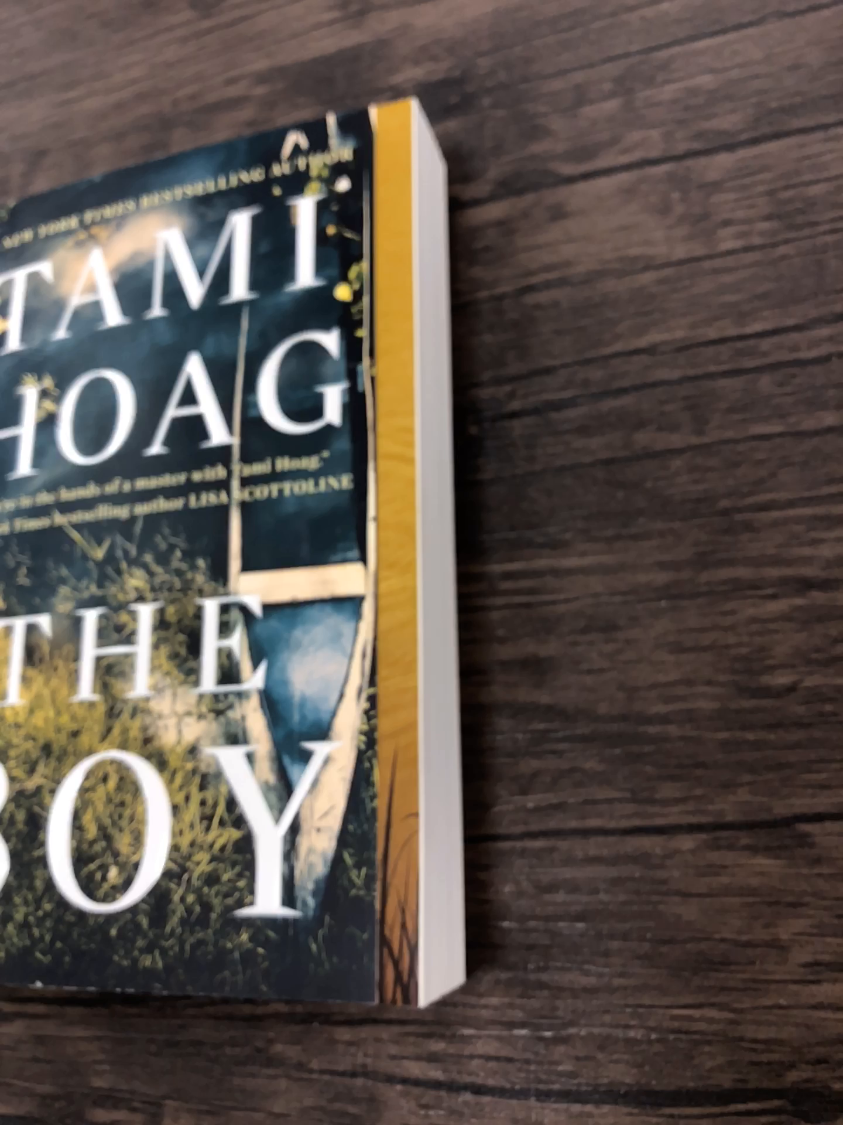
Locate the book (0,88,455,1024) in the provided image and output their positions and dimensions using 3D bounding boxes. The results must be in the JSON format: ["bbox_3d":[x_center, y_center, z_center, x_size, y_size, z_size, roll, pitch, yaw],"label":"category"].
[{"bbox_3d":[-0.064,-0.003,0.239,0.139,0.032,0.202,-6,73,20],"label":"book"}]
